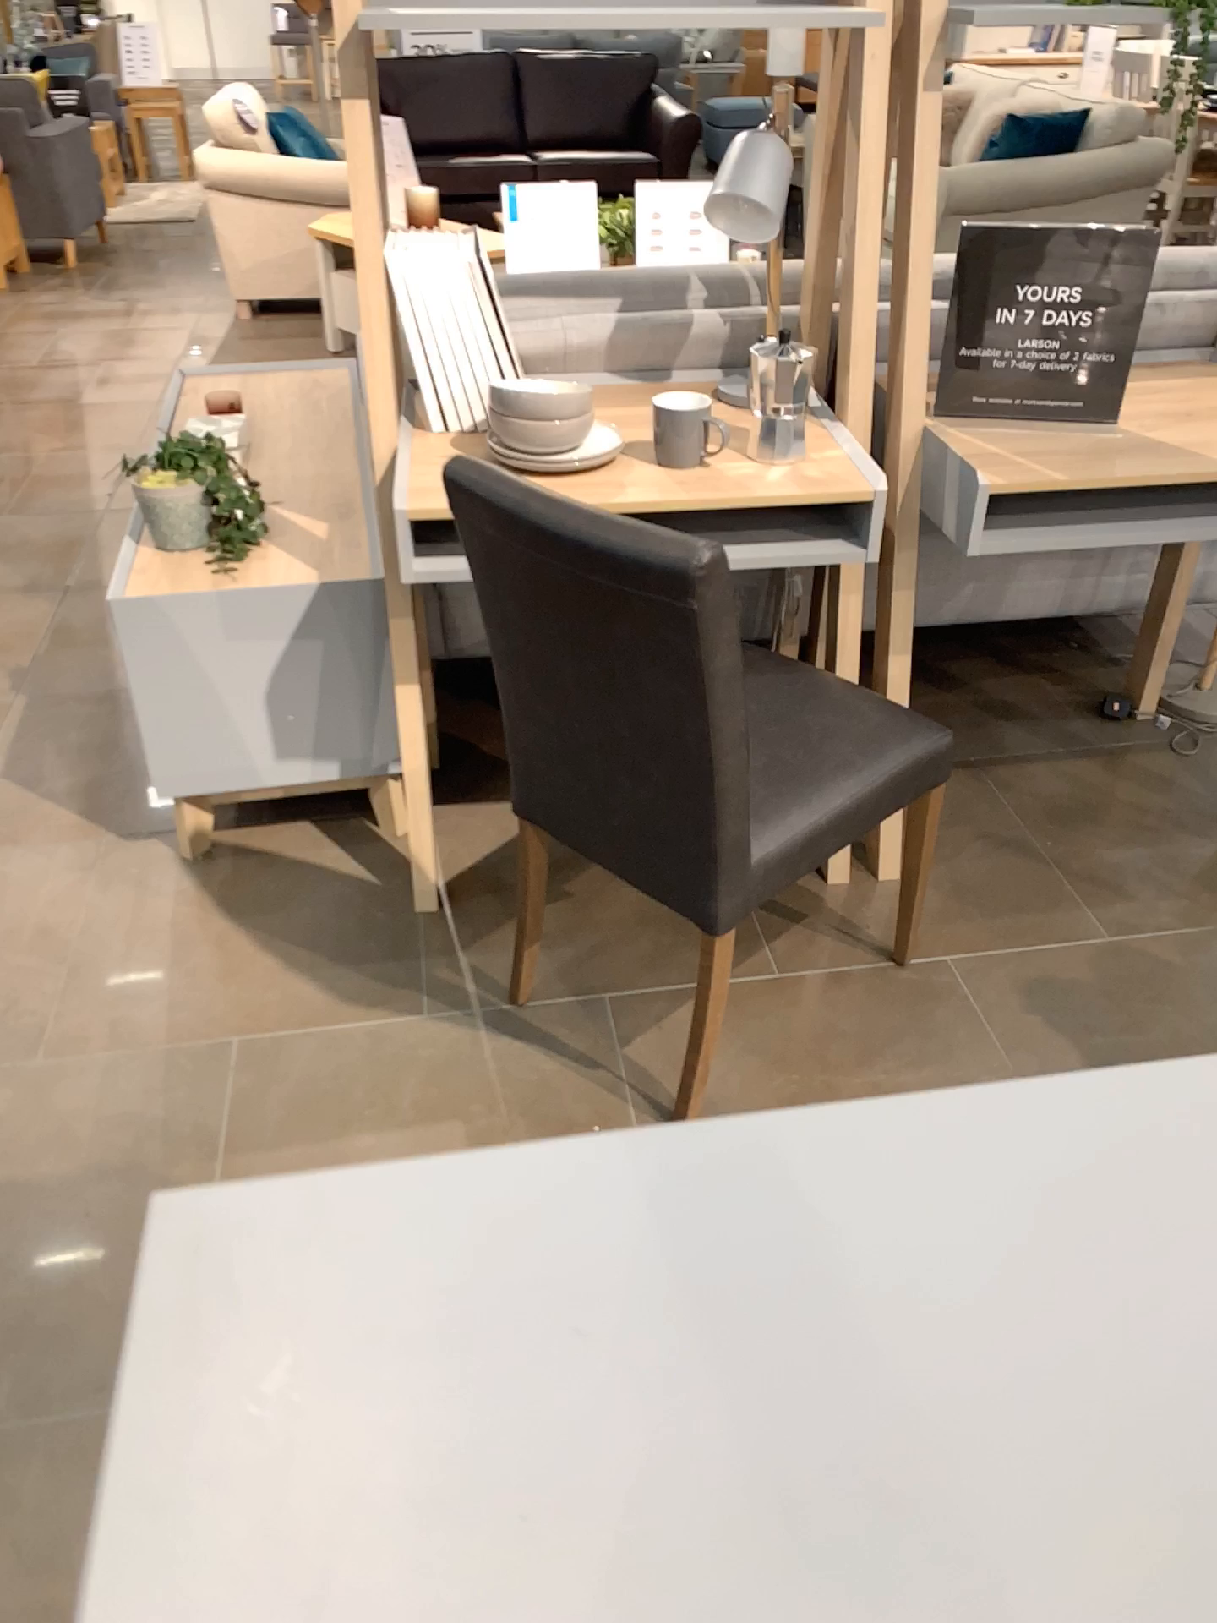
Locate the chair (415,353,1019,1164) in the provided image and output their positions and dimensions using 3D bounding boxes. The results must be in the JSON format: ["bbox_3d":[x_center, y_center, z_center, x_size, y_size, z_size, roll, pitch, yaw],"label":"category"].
[{"bbox_3d":[0.145,-0.098,1.745,0.458,0.887,0.608,28,43,36],"label":"chair"}]
